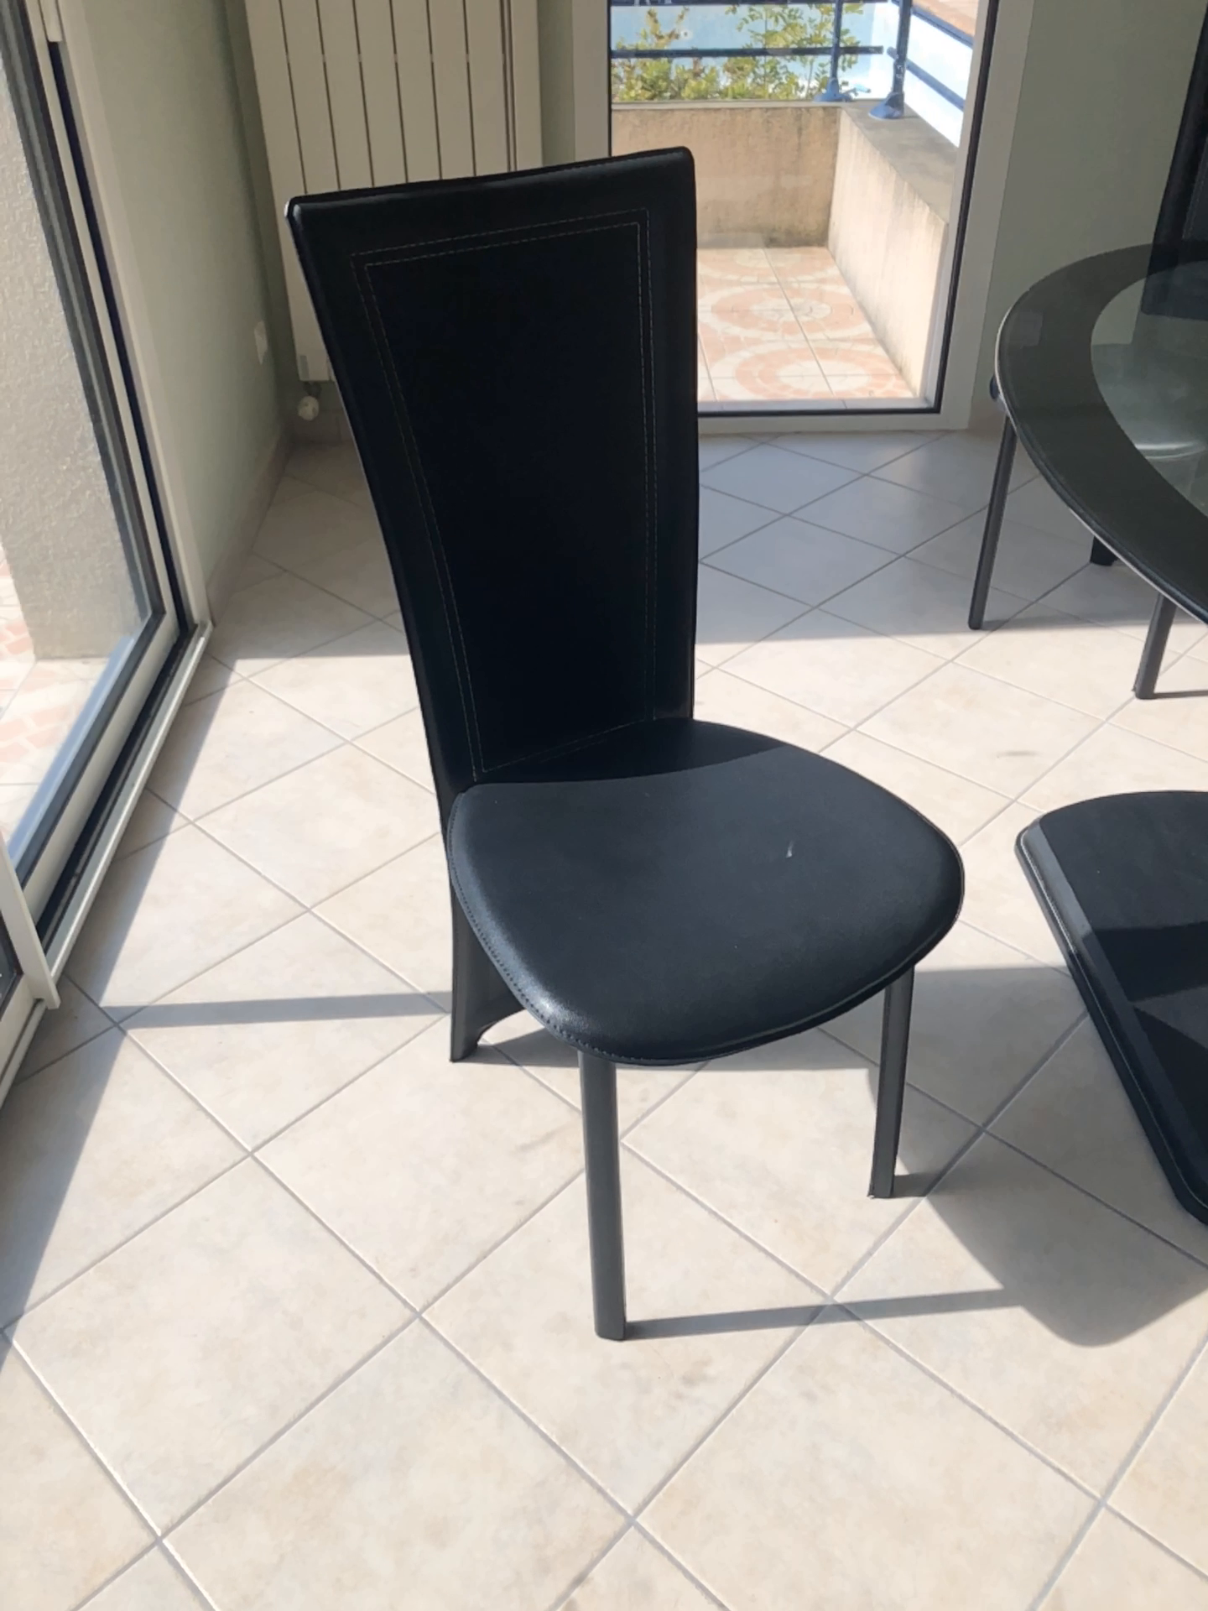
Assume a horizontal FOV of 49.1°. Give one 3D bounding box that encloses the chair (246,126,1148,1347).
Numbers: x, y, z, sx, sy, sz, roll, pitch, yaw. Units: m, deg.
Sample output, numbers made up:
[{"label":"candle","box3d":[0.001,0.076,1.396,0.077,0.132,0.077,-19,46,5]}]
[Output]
[{"label":"chair","box3d":[0.050,-0.072,1.208,0.452,0.895,0.501,-19,38,-24]}]
